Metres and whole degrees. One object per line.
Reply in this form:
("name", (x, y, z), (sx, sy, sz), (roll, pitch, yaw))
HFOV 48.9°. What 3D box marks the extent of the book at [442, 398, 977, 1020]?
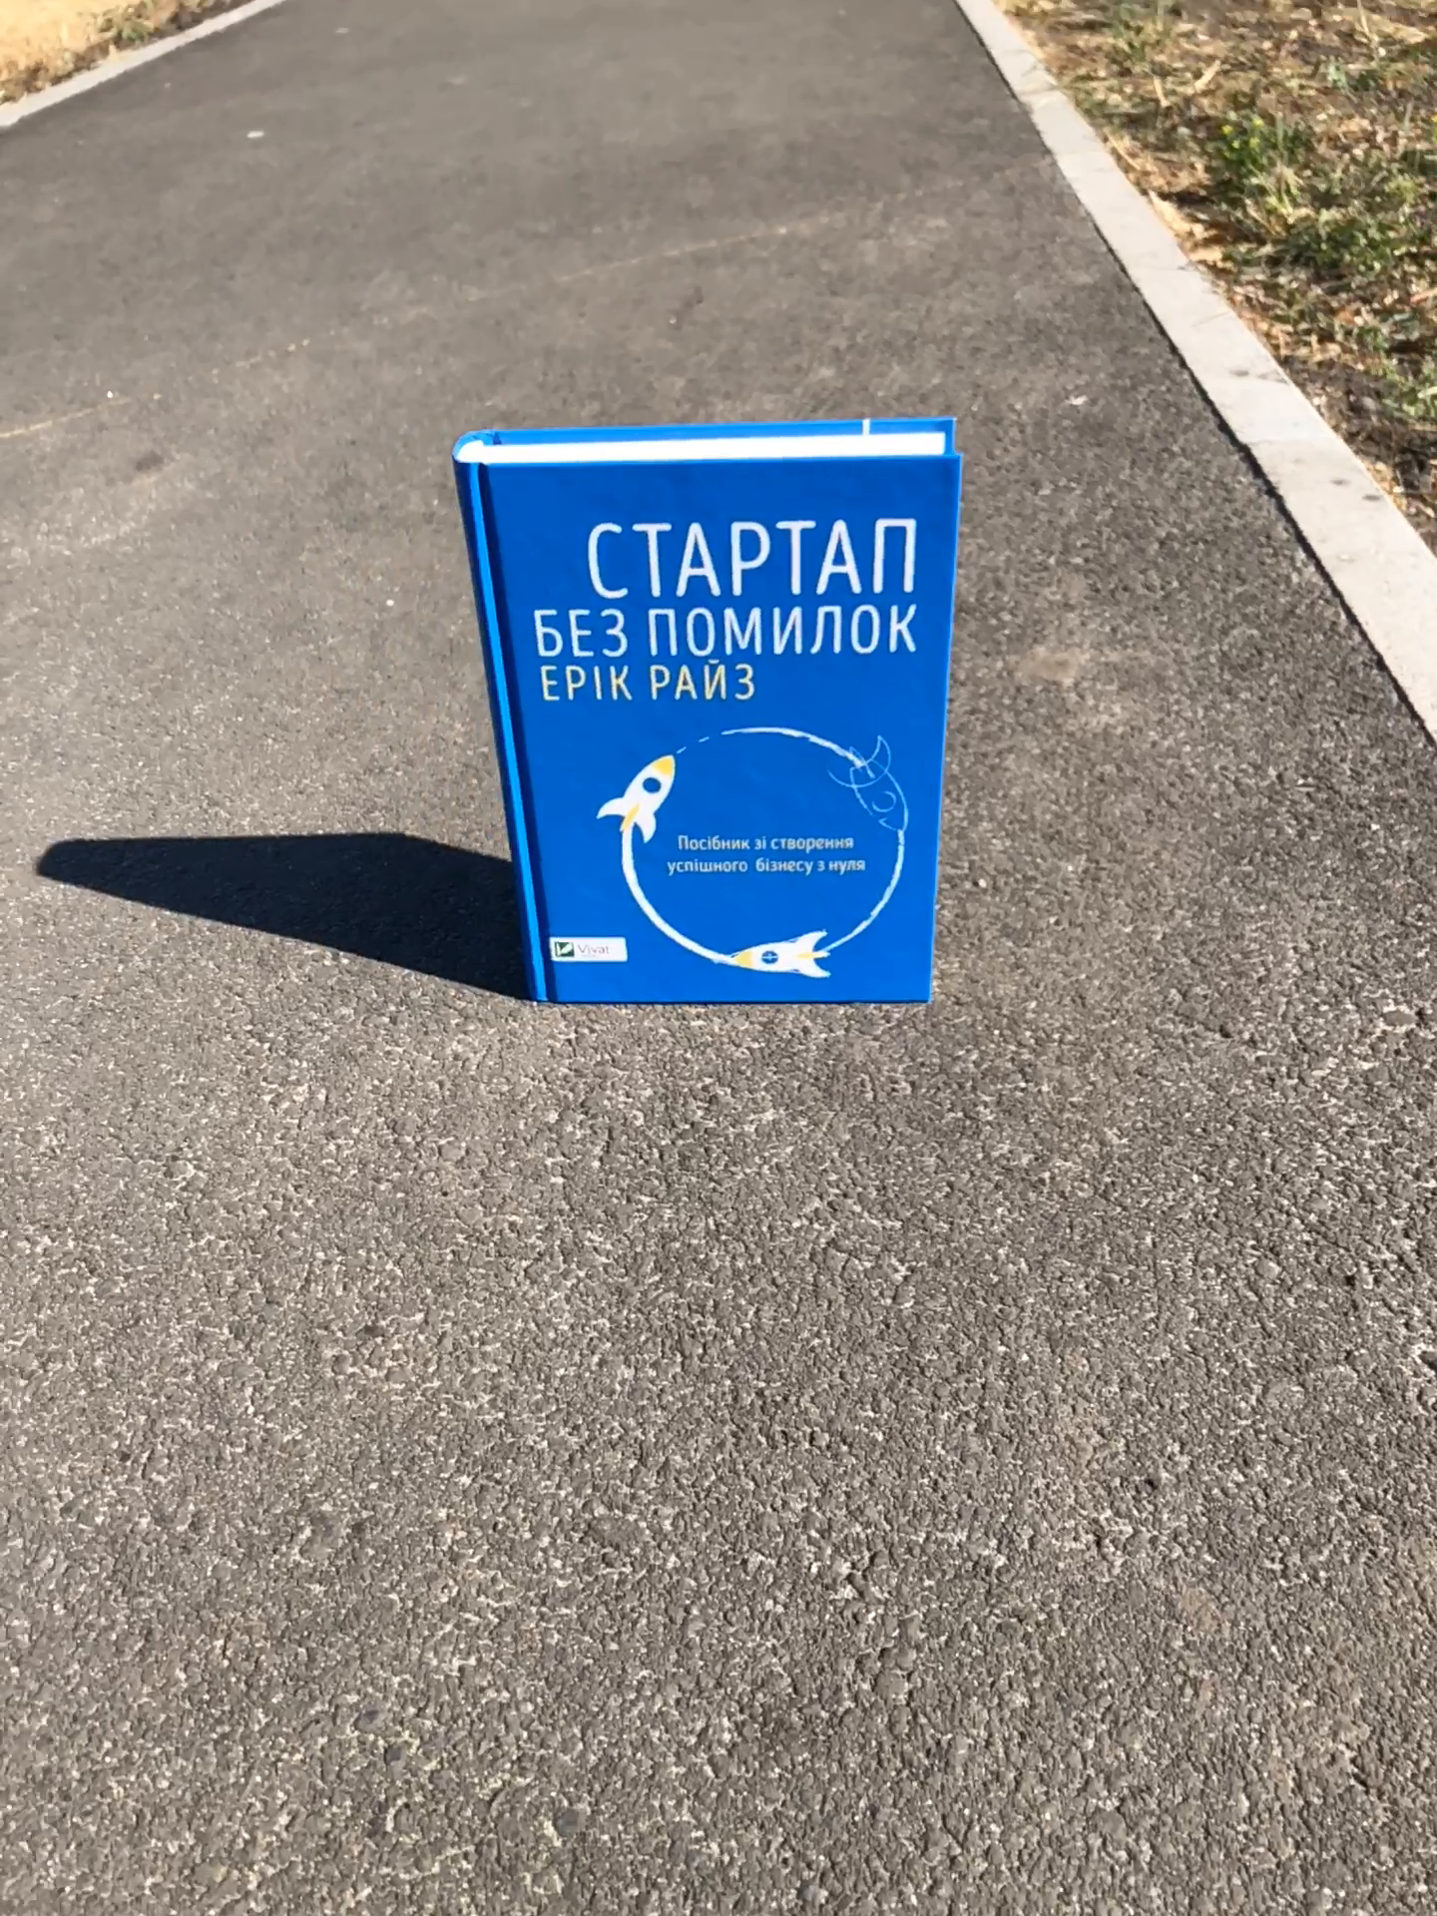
("book", (0.003, -0.074, 0.528), (0.154, 0.205, 0.039), (-1, 35, 4))
